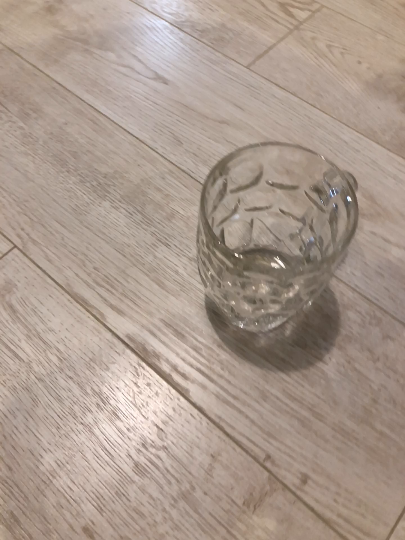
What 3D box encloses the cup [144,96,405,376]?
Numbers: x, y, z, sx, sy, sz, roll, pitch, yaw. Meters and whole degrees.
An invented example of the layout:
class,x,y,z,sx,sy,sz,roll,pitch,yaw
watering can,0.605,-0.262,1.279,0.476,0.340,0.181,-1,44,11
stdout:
class,x,y,z,sx,sy,sz,roll,pitch,yaw
cup,0.050,-0.021,0.313,0.140,0.109,0.100,-32,68,-17
